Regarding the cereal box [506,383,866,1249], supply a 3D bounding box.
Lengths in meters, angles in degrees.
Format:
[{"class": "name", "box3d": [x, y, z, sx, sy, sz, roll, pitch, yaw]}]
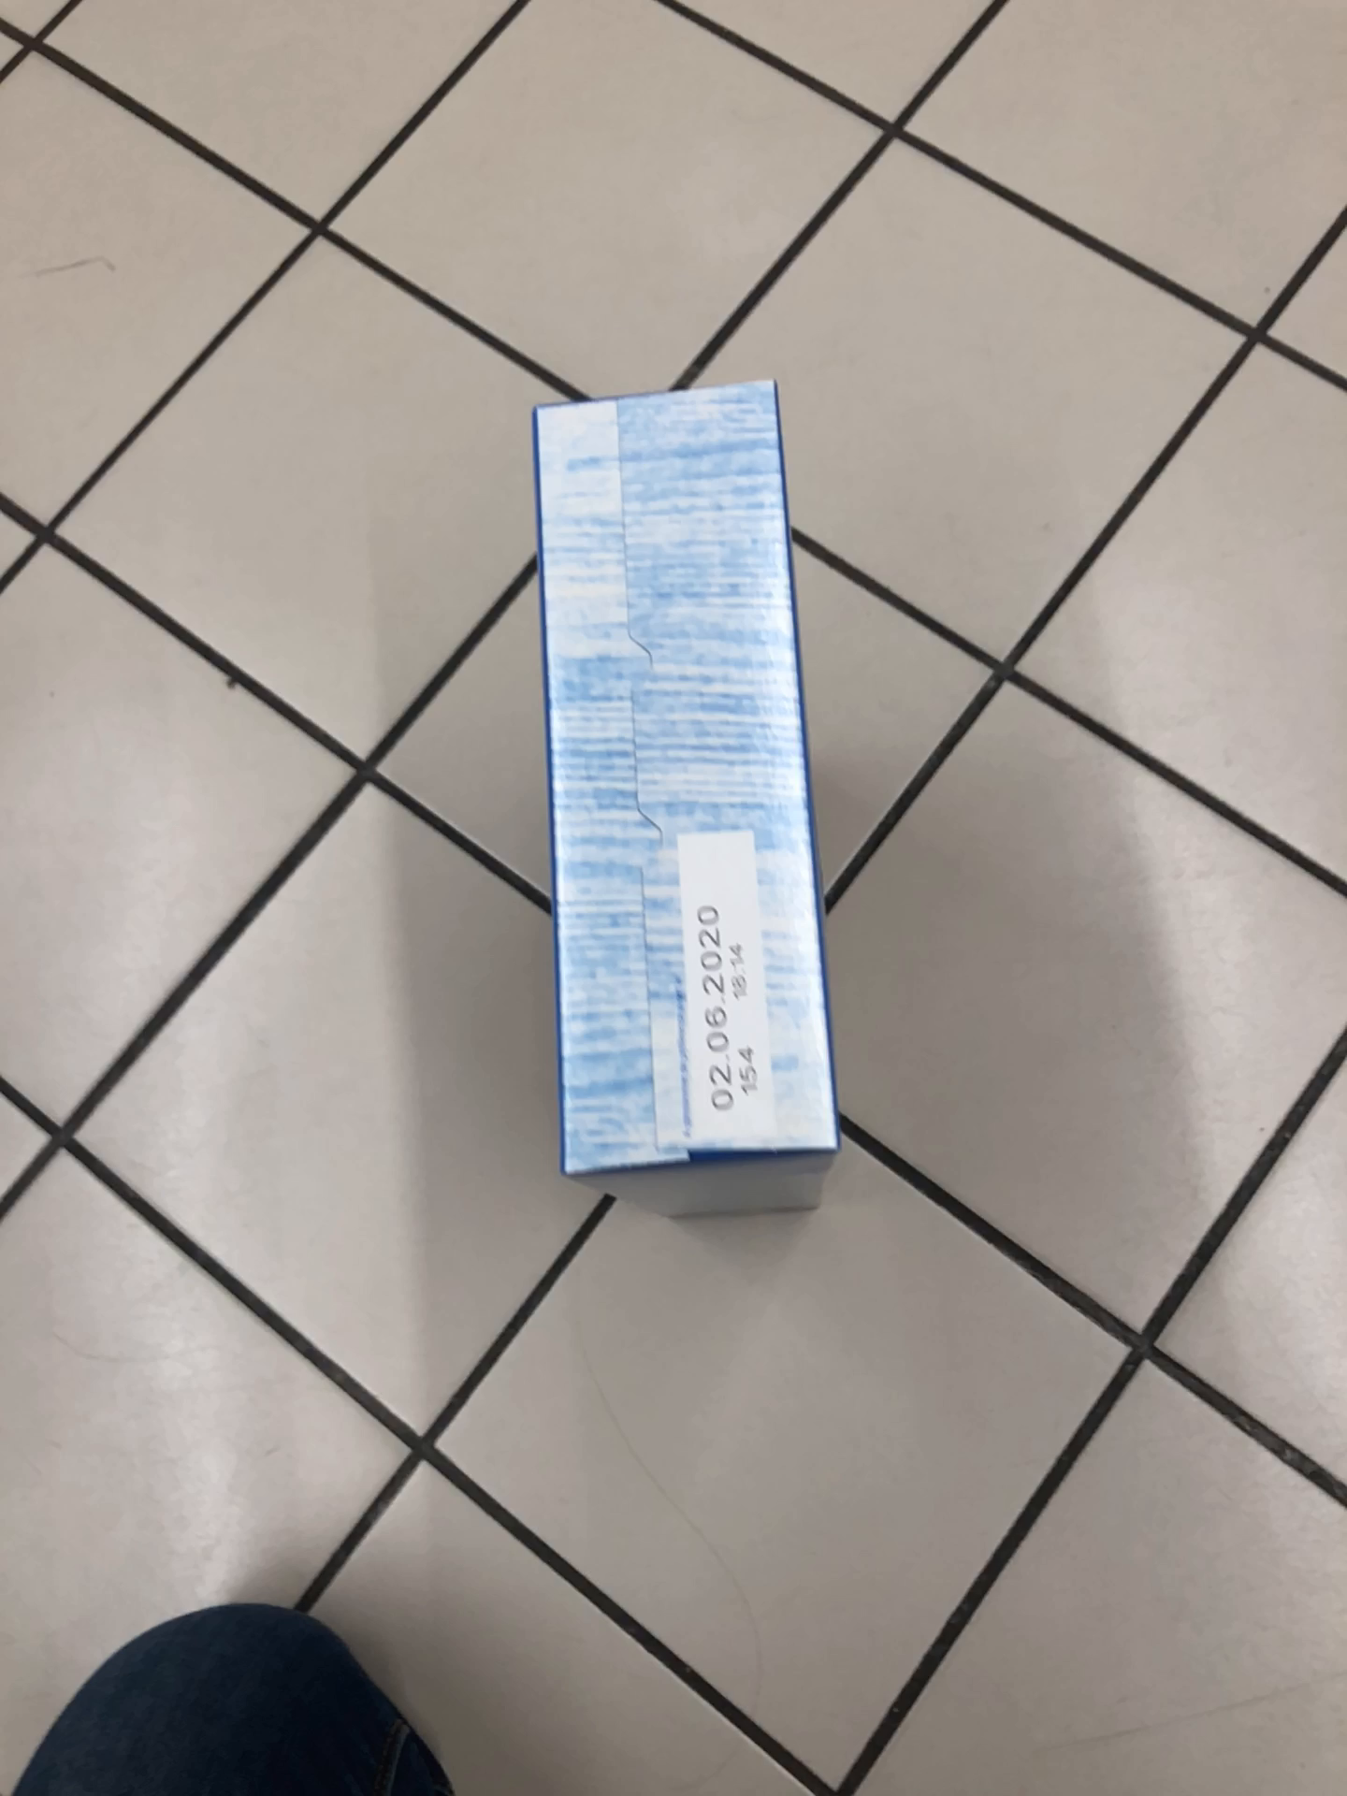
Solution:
[{"class": "cereal box", "box3d": [0.011, 0.007, 0.488, 0.070, 0.290, 0.200, -5, 75, 3]}]
